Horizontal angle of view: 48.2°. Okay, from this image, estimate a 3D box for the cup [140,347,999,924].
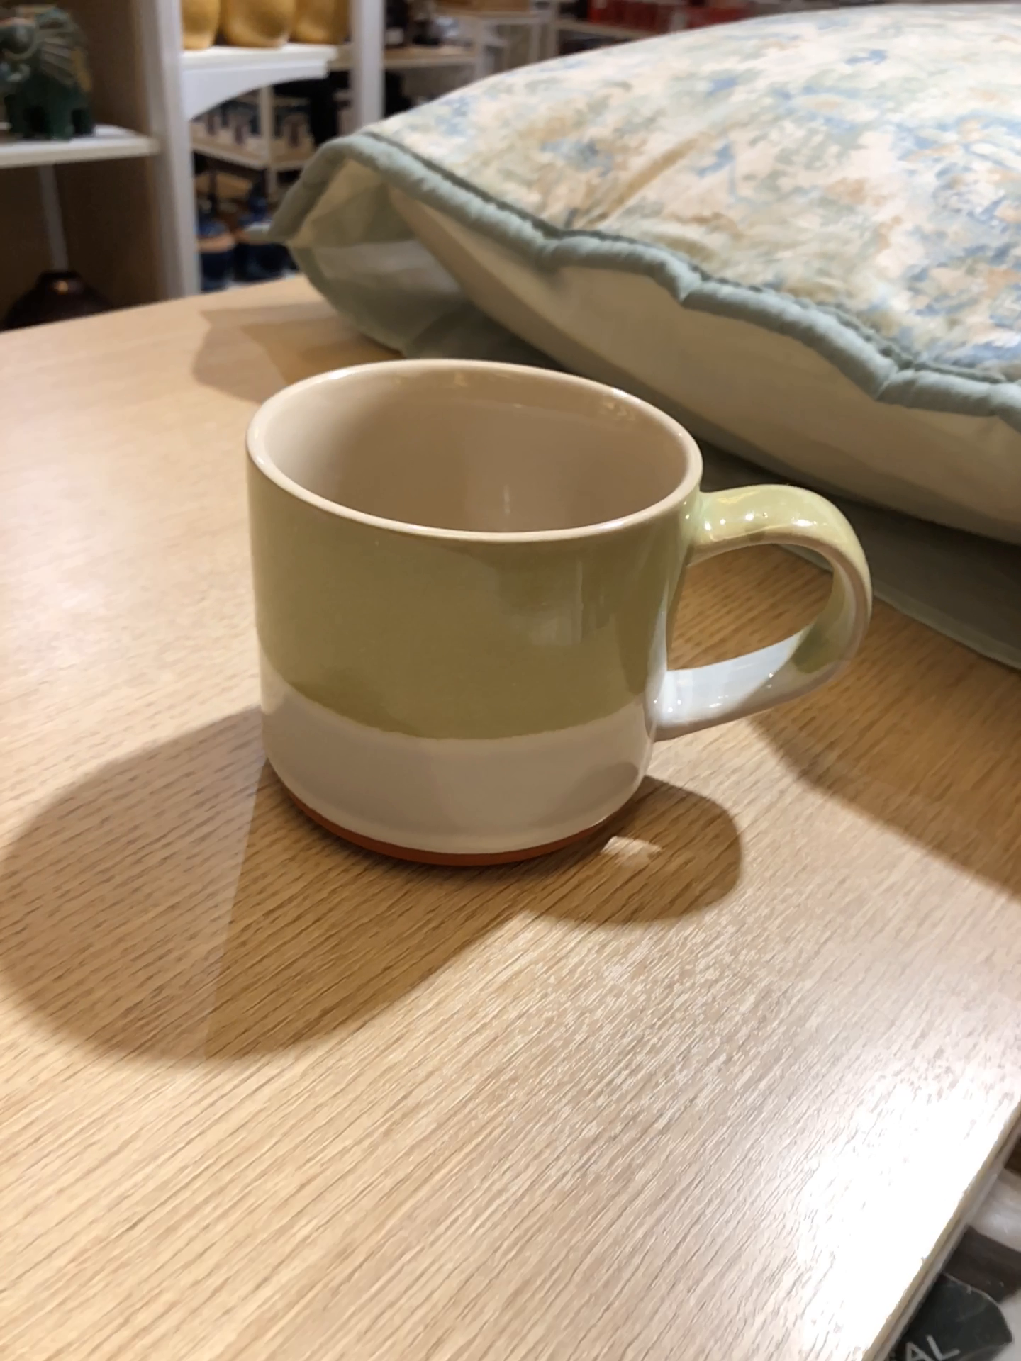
[{"bbox_3d":[0.007,-0.014,0.248,0.140,0.079,0.101,2,33,-4],"label":"cup"}]
